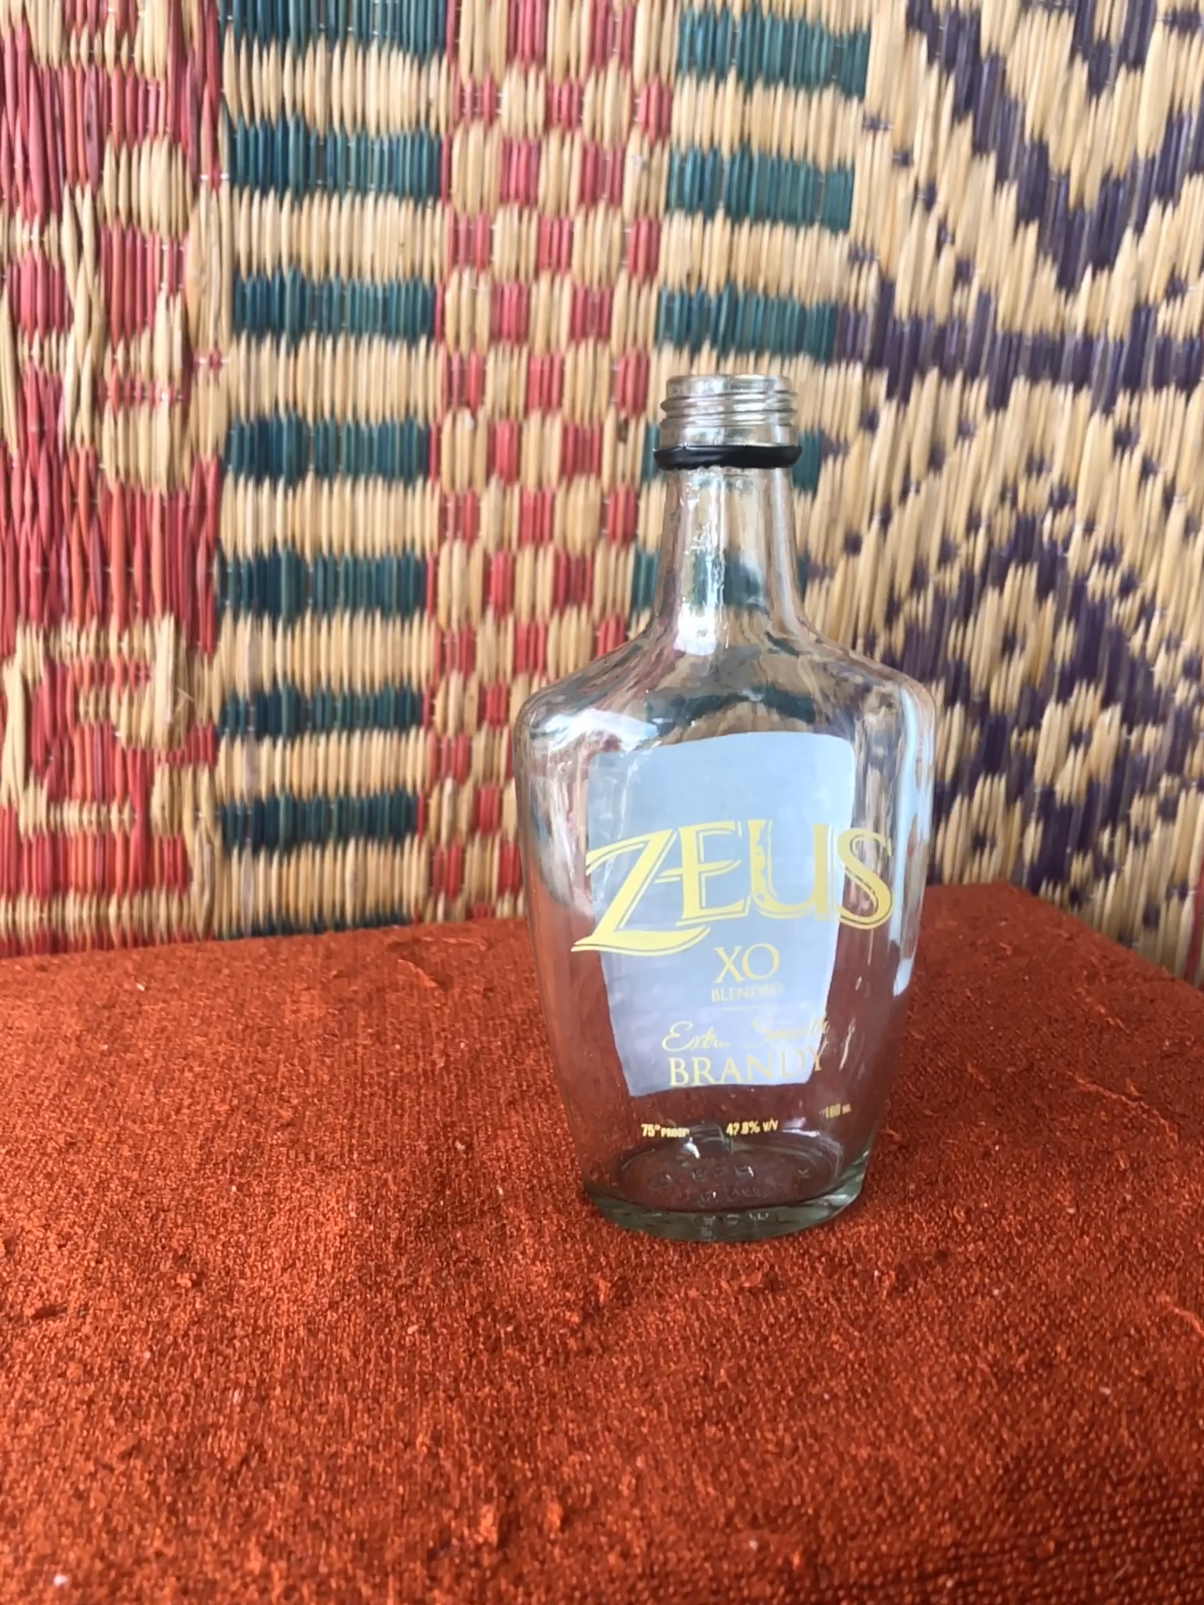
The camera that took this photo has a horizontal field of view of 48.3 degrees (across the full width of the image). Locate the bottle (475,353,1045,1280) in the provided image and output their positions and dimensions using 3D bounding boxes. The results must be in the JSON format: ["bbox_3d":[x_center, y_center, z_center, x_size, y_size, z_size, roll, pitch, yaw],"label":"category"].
[{"bbox_3d":[0.020,0.003,0.231,0.080,0.149,0.040,0,17,-8],"label":"bottle"}]
